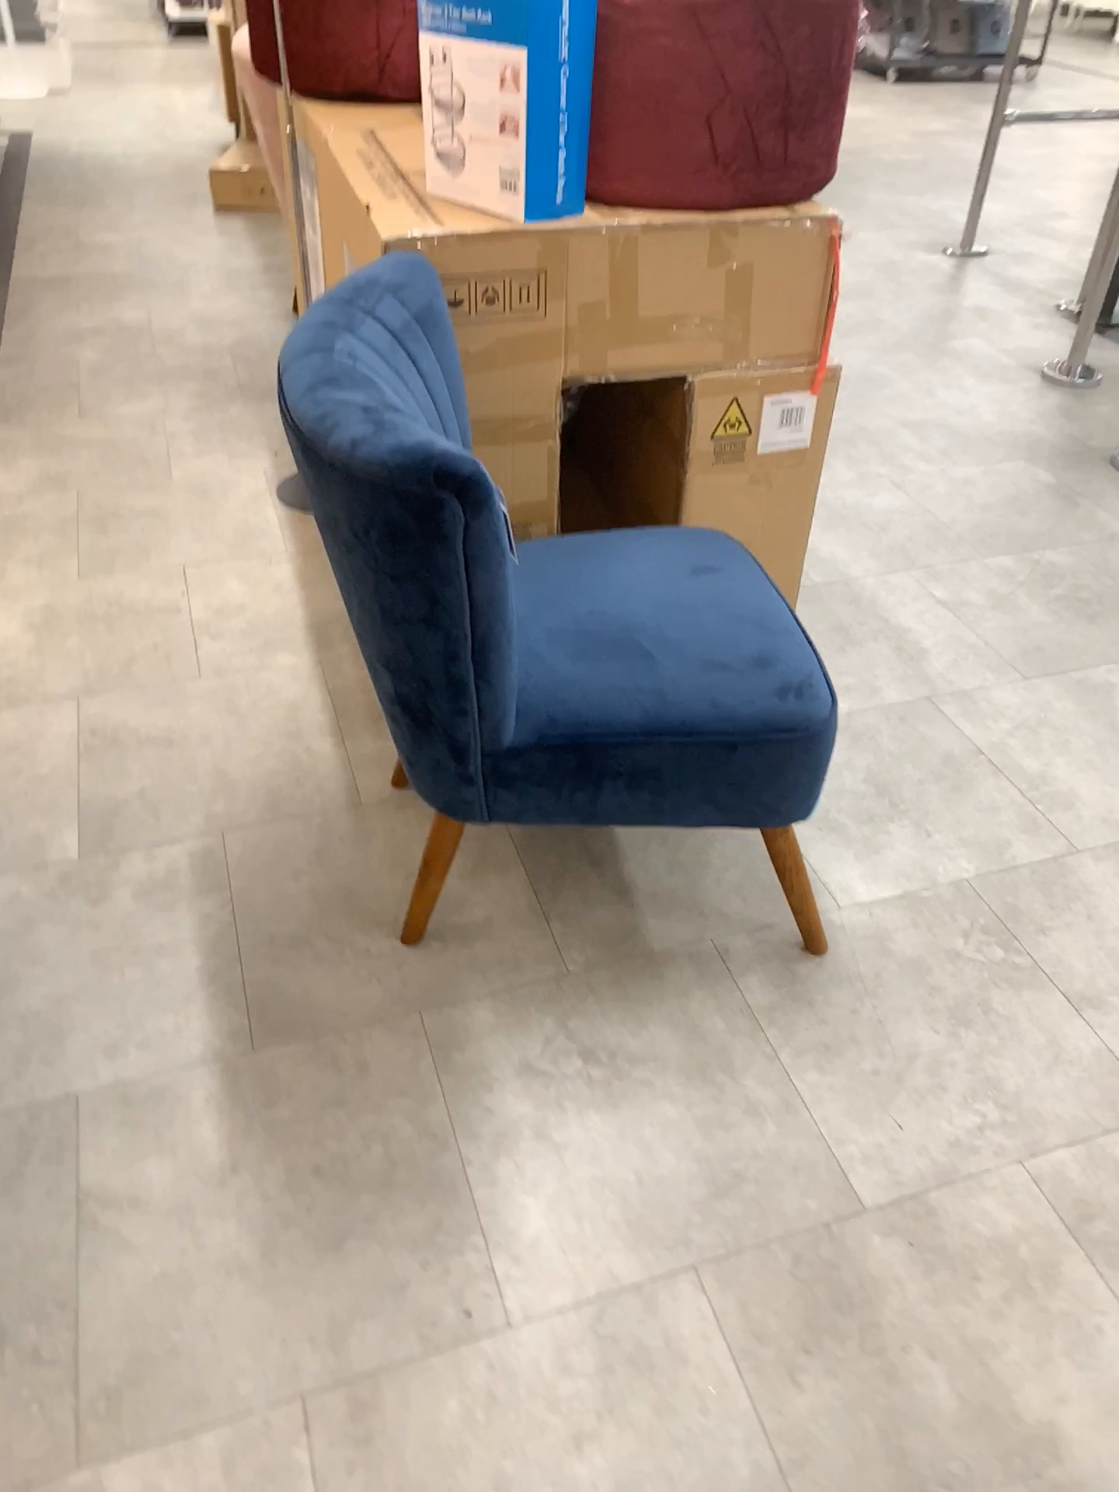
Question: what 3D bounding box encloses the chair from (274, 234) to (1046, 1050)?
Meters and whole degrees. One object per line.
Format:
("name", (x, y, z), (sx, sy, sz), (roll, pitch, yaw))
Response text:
("chair", (0.032, -0.184, 1.569), (0.726, 0.789, 0.737), (-6, 39, -11))
